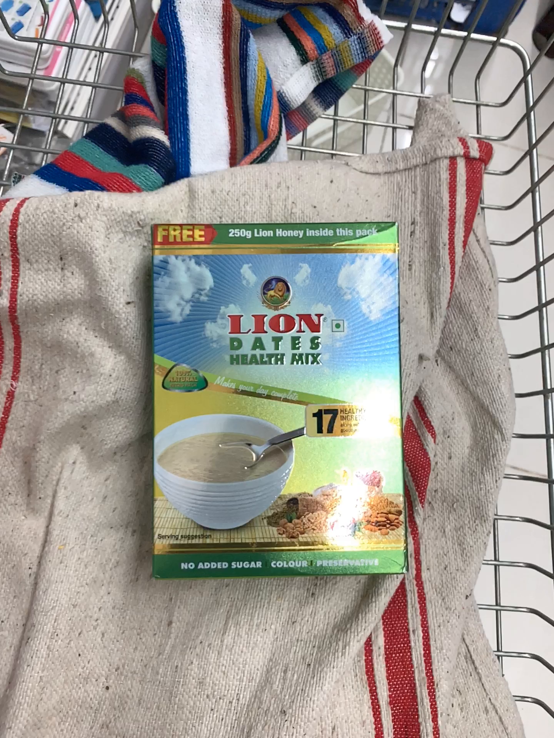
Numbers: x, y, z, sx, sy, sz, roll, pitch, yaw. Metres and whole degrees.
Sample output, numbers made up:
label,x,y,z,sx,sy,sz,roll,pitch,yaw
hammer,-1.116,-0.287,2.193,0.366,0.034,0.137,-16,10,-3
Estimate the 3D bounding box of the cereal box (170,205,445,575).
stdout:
label,x,y,z,sx,sy,sz,roll,pitch,yaw
cereal box,0.014,0.011,0.341,0.140,0.090,0.190,-1,87,-1
